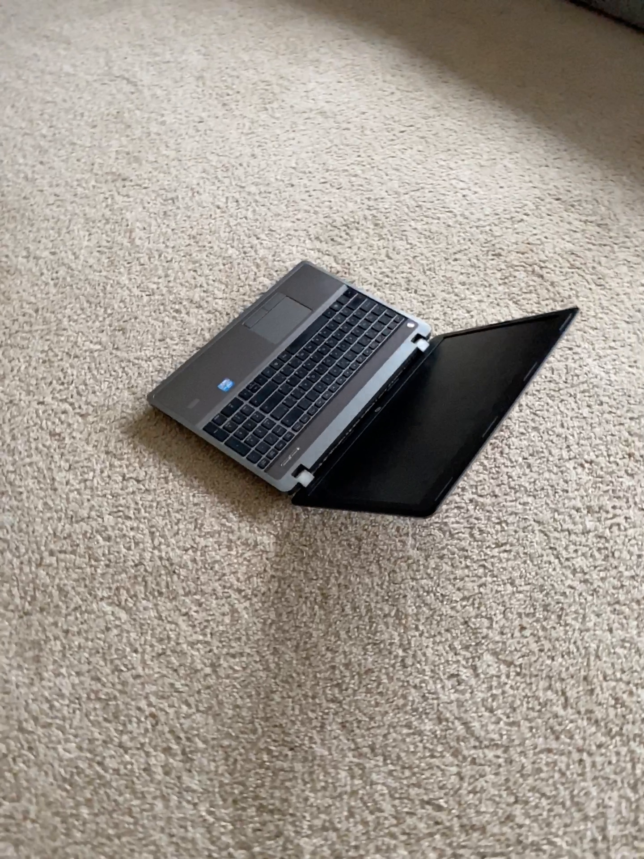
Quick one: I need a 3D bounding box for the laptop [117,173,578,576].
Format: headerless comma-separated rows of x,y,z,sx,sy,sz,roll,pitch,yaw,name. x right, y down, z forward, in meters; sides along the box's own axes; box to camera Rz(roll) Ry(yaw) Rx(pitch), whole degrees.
0.037,-0.102,0.872,0.435,0.162,0.375,32,59,18,laptop
